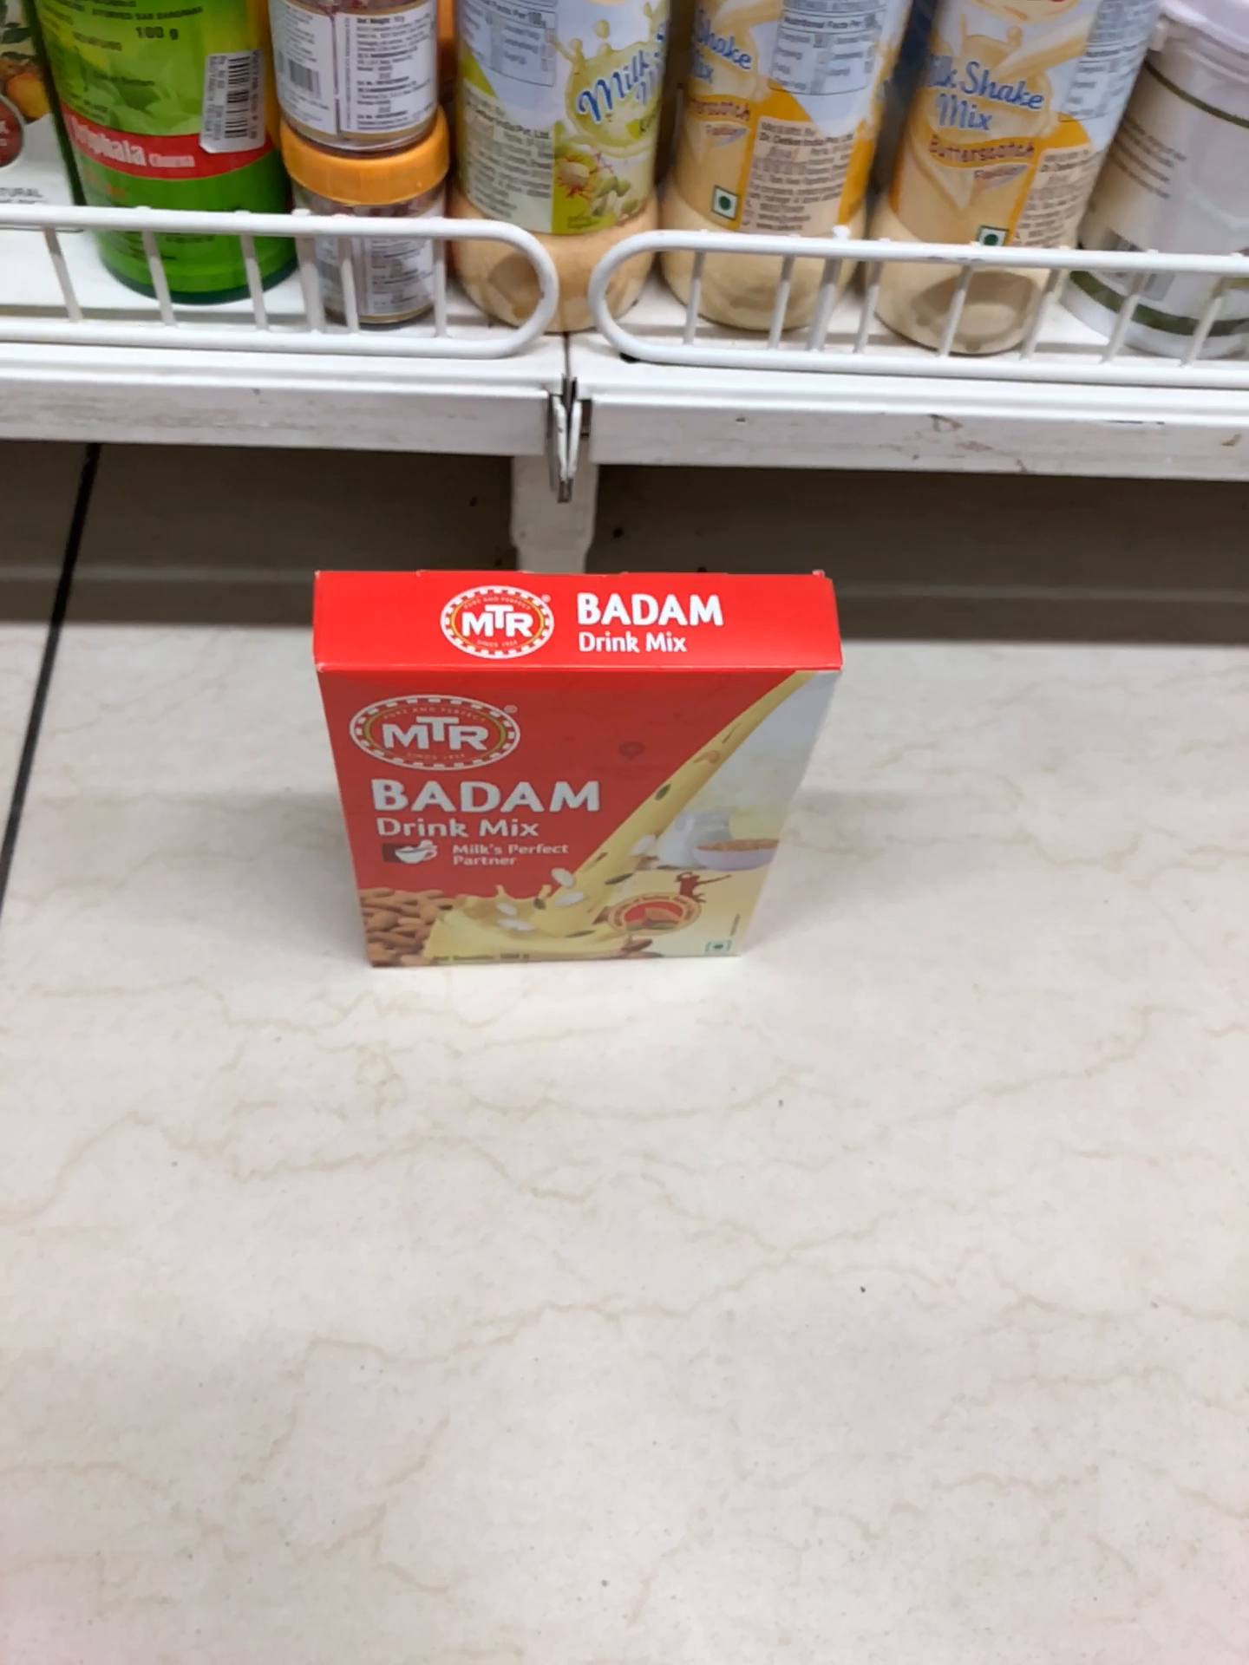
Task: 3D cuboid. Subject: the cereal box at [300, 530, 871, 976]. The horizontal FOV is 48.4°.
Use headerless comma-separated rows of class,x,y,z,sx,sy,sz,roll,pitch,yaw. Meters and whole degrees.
cereal box,-0.016,-0.015,0.393,0.130,0.159,0.040,-2,59,-7
